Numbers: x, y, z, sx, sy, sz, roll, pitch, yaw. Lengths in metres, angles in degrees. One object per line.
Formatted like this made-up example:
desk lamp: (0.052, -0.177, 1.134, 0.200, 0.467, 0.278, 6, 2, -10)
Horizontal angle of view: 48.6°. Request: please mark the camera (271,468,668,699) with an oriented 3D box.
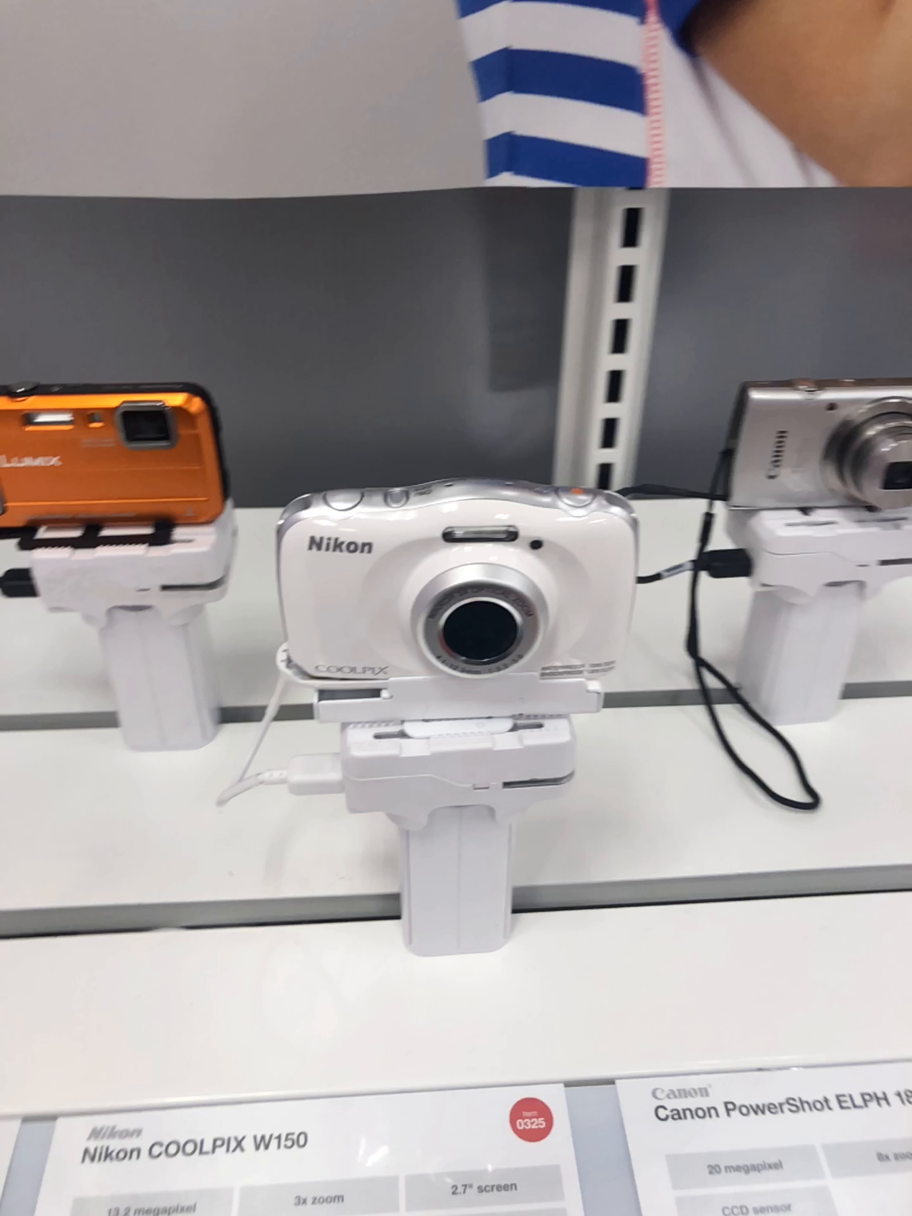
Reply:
camera: (0.003, -0.007, 0.296, 0.105, 0.056, 0.032, -2, 36, -4)
